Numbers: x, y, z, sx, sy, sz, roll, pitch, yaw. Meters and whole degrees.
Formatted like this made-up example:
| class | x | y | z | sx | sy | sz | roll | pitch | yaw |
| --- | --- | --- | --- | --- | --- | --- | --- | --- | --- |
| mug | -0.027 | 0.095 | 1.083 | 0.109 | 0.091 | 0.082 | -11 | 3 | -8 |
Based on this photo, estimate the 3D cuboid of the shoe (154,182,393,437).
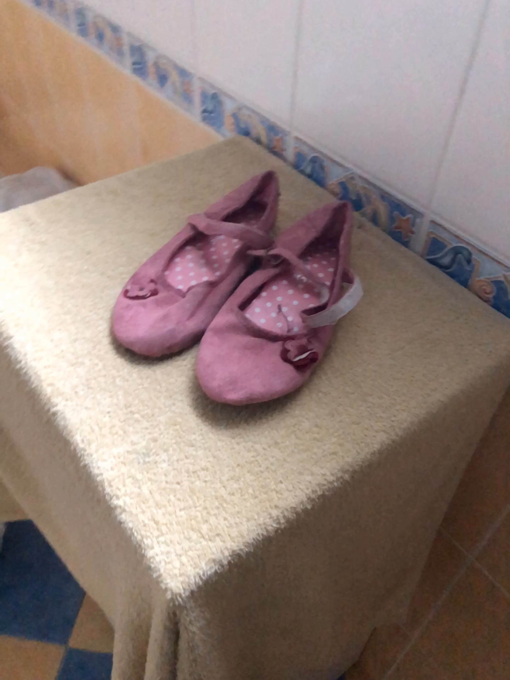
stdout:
| class | x | y | z | sx | sy | sz | roll | pitch | yaw |
| --- | --- | --- | --- | --- | --- | --- | --- | --- | --- |
| shoe | 0.027 | -0.042 | 0.469 | 0.100 | 0.050 | 0.241 | 21 | 48 | 17 |

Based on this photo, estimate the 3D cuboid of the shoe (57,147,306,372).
| class | x | y | z | sx | sy | sz | roll | pitch | yaw |
| --- | --- | --- | --- | --- | --- | --- | --- | --- | --- |
| shoe | -0.050 | -0.086 | 0.498 | 0.100 | 0.050 | 0.241 | 21 | 48 | 17 |
